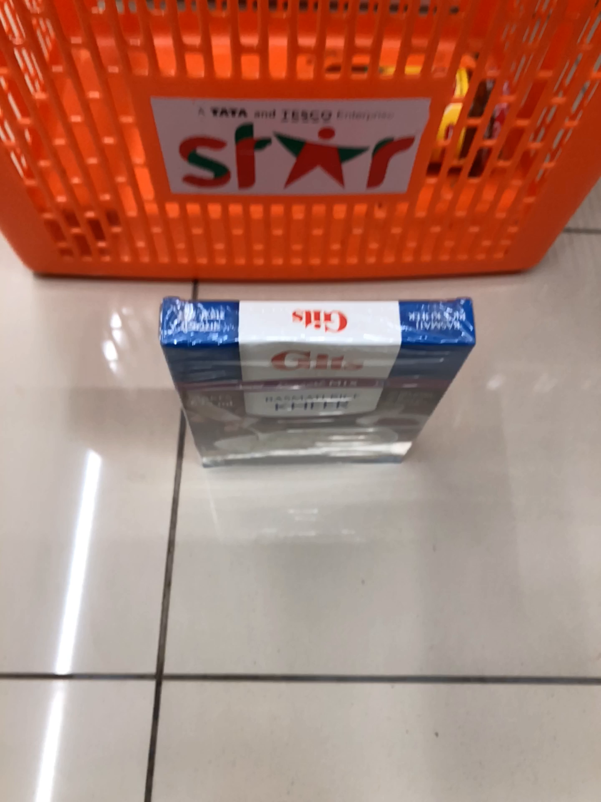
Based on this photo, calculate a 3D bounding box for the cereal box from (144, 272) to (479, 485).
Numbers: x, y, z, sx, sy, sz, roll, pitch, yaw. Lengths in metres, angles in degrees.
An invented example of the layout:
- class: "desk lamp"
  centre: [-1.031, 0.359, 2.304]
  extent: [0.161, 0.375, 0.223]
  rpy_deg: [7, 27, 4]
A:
- class: "cereal box"
  centre: [0.002, -0.001, 0.318]
  extent: [0.120, 0.159, 0.030]
  rpy_deg: [-1, 65, -2]
